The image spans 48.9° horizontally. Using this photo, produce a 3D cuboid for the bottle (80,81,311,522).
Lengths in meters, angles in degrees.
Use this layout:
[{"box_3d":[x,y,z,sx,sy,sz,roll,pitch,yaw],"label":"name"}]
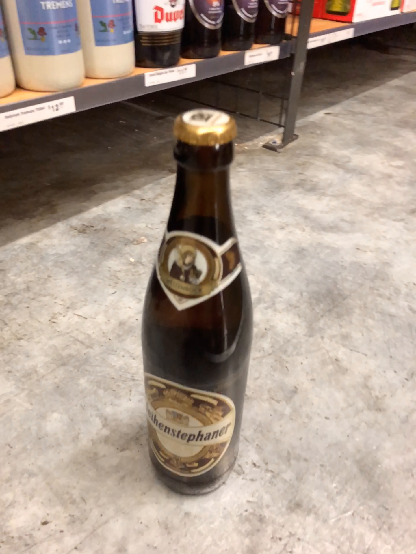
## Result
[{"box_3d":[-0.006,0.032,0.262,0.070,0.249,0.070,1,37,-1],"label":"bottle"}]
